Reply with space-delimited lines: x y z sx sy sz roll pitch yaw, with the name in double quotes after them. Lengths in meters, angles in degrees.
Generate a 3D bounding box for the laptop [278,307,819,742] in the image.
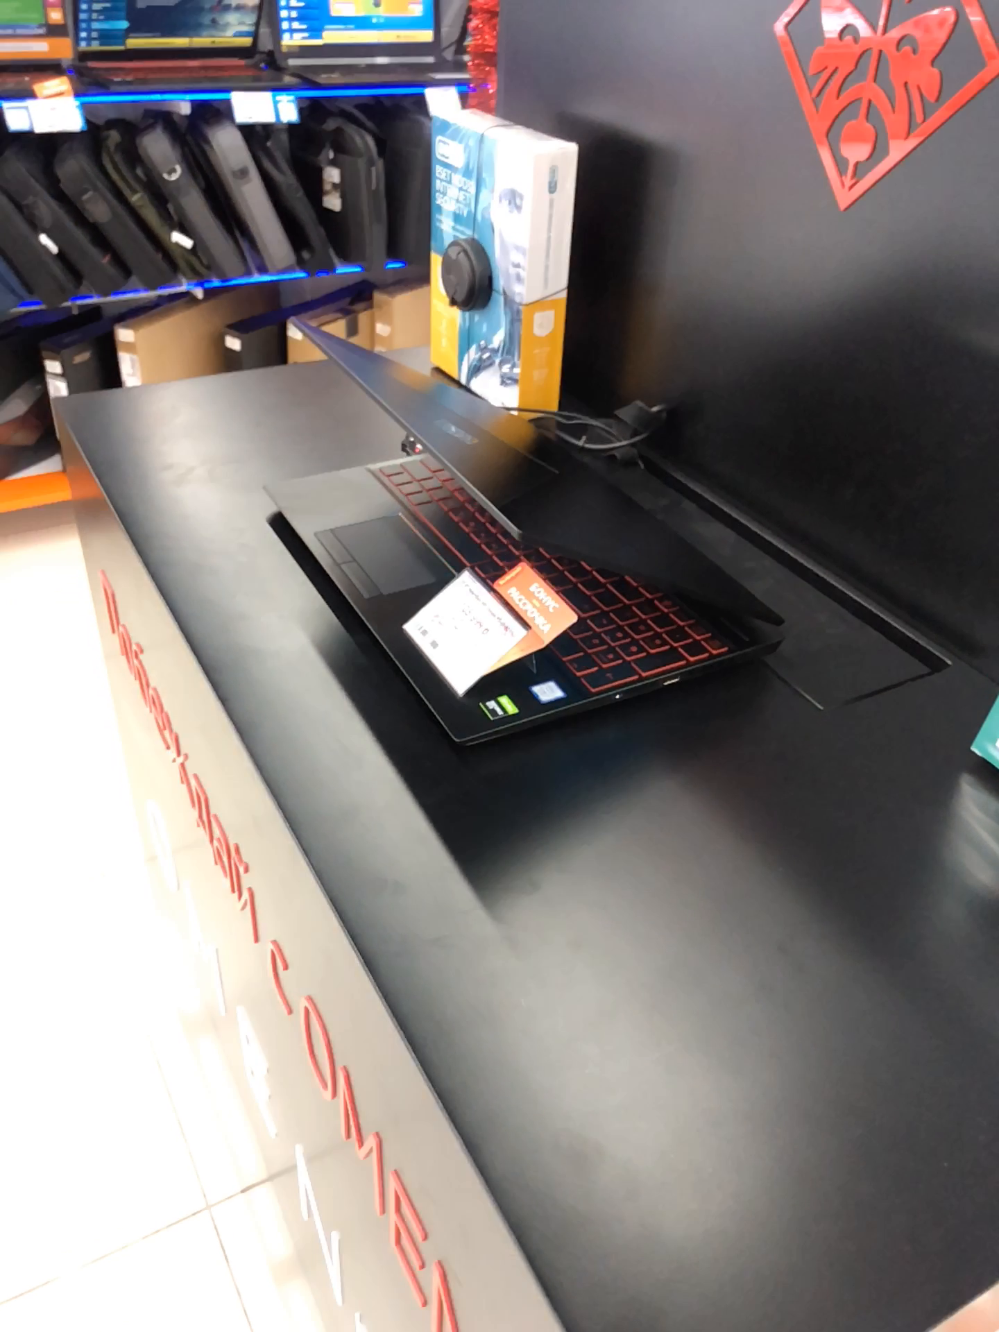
0.008 -0.126 0.766 0.231 0.121 0.352 -14 37 -21 "laptop"
